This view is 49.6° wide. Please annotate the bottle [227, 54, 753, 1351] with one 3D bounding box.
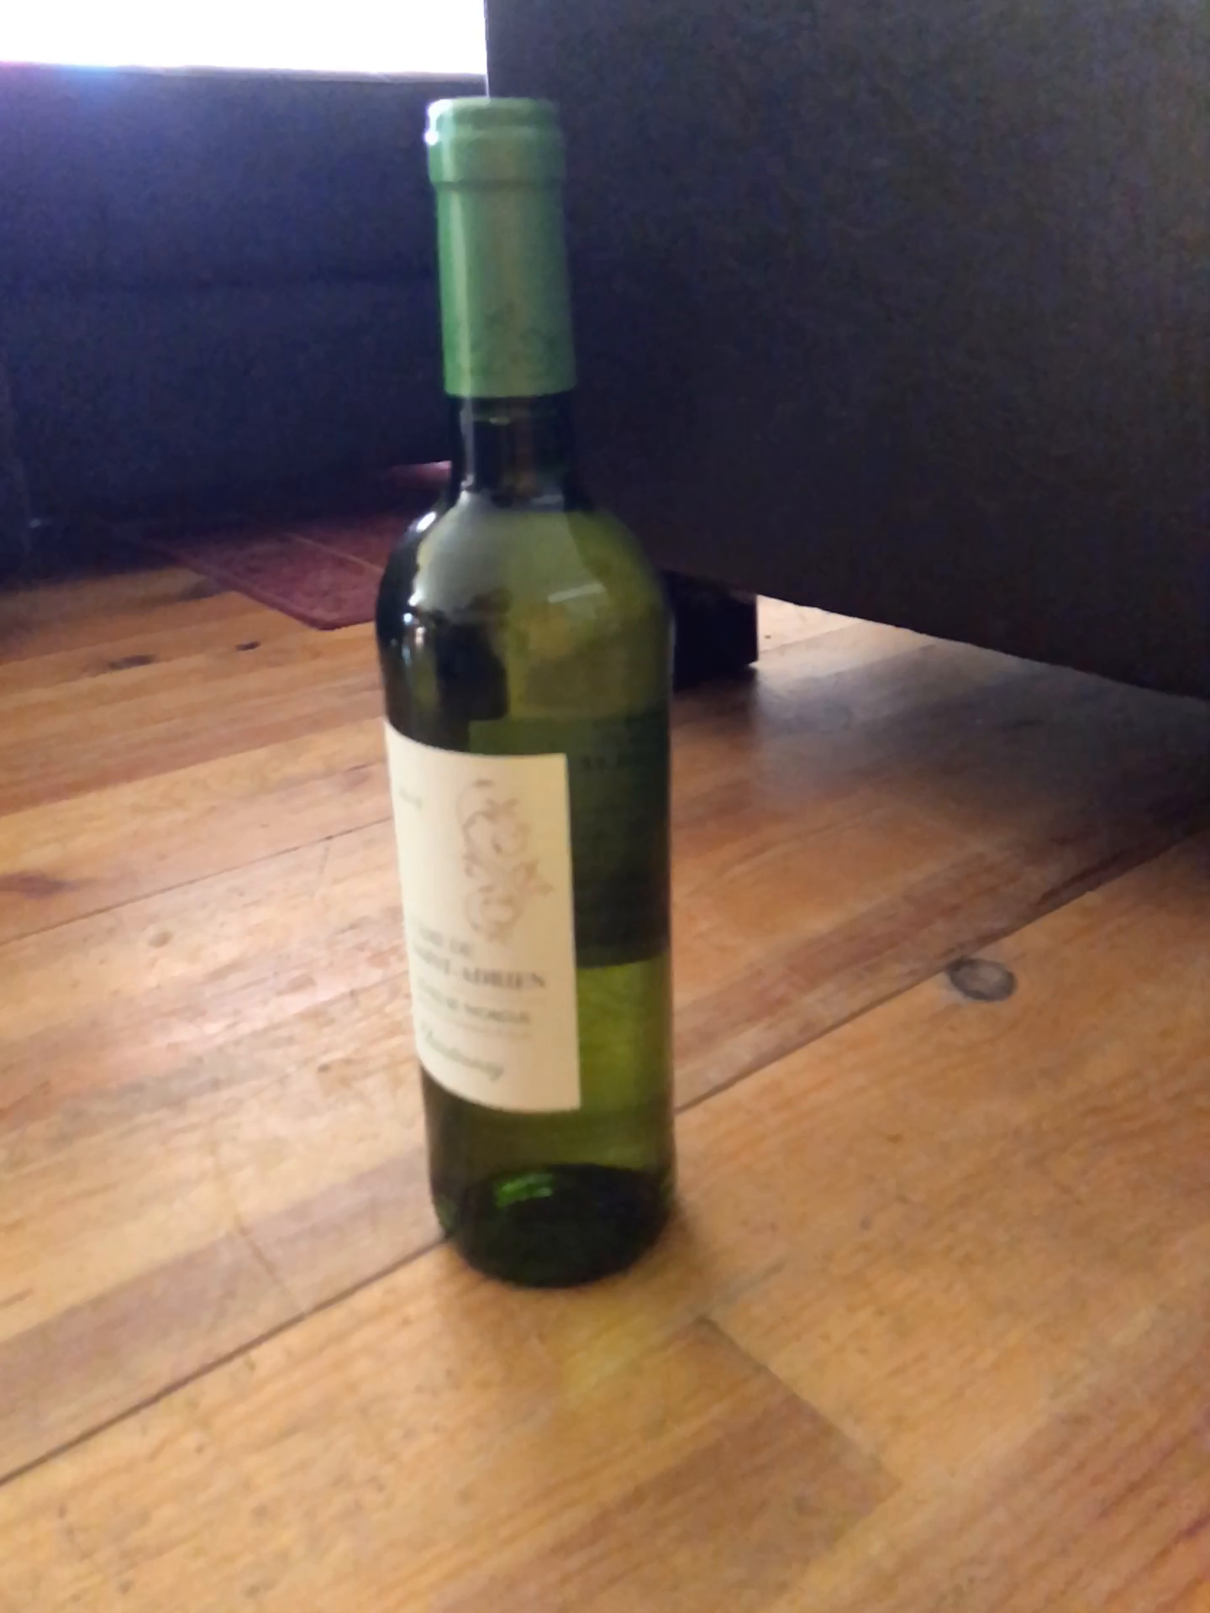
[{"bbox_3d":[-0.017,-0.016,0.338,0.080,0.298,0.080,-2,23,1],"label":"bottle"}]
